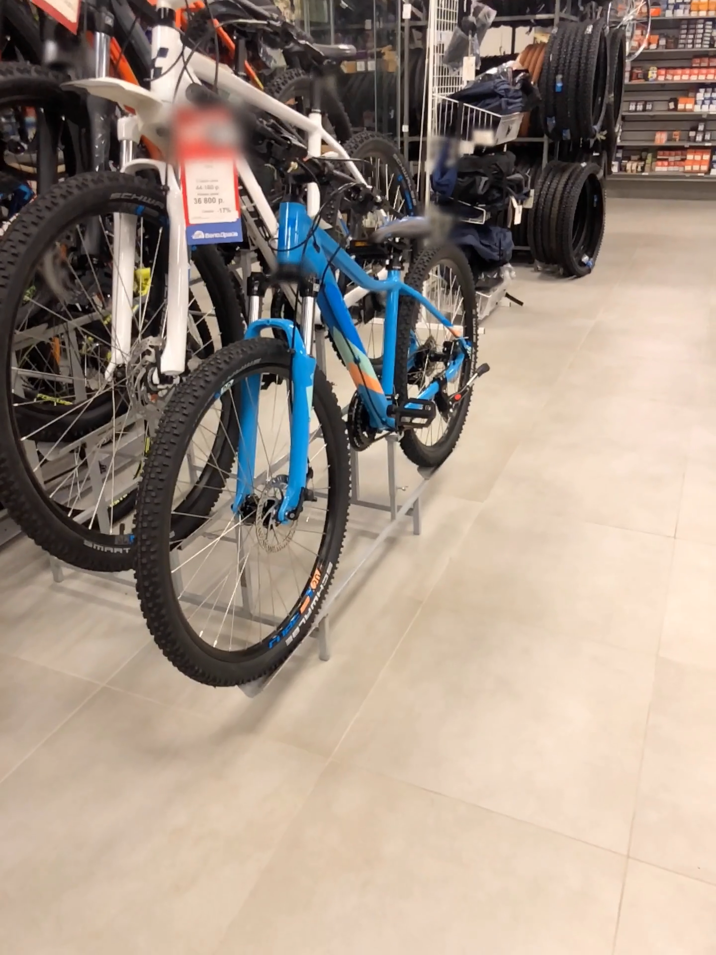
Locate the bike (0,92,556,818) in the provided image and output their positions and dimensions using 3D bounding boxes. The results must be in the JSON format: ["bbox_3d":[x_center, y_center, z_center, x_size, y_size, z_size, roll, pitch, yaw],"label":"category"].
[{"bbox_3d":[-0.069,-0.304,1.901,0.630,1.082,1.710,10,29,21],"label":"bike"}]
